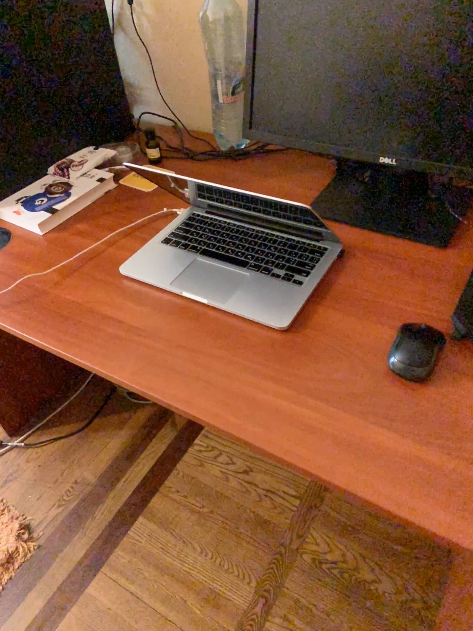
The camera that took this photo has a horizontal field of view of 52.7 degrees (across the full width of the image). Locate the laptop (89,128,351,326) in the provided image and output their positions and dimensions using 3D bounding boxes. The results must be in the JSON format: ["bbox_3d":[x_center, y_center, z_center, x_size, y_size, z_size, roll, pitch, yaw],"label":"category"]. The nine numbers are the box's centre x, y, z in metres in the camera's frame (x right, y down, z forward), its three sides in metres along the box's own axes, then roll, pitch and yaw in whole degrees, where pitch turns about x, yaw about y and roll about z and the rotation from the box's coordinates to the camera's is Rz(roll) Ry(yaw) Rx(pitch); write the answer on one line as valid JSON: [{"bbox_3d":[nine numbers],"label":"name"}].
[{"bbox_3d":[-0.017,-0.148,0.726,0.303,0.150,0.208,19,49,24],"label":"laptop"}]
